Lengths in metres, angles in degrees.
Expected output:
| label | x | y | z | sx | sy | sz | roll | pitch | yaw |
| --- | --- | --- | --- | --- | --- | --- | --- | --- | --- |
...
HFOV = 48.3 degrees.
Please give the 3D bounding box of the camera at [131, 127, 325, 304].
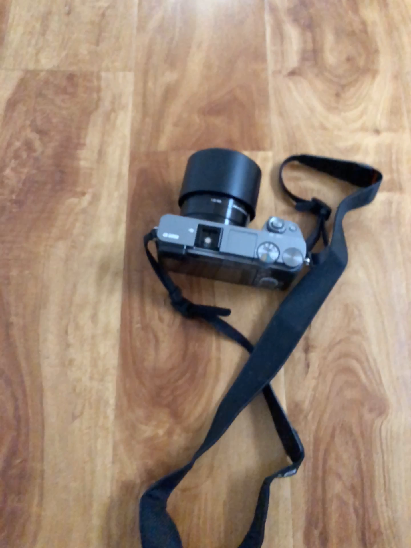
| label | x | y | z | sx | sy | sz | roll | pitch | yaw |
| --- | --- | --- | --- | --- | --- | --- | --- | --- | --- |
| camera | 0.021 | -0.049 | 0.407 | 0.140 | 0.080 | 0.110 | 10 | 71 | 3 |
